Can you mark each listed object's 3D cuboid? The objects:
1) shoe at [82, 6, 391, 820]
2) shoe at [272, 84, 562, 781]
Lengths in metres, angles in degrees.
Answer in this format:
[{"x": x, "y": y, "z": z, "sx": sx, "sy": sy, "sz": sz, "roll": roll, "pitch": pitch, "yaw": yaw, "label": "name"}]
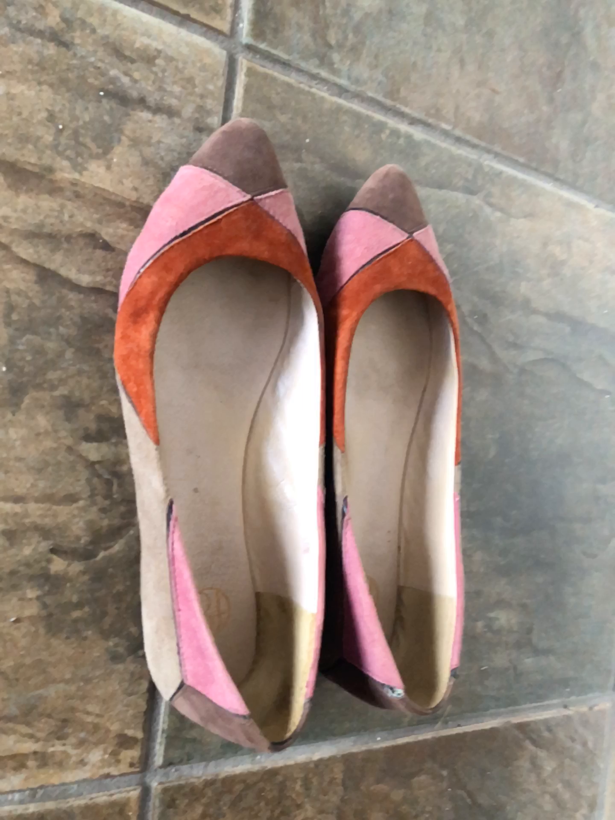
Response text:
[{"x": -0.031, "y": 0.002, "z": 0.276, "sx": 0.090, "sy": 0.070, "sz": 0.270, "roll": 3, "pitch": 91, "yaw": -31, "label": "shoe"}, {"x": 0.049, "y": 0.010, "z": 0.313, "sx": 0.090, "sy": 0.070, "sz": 0.270, "roll": 4, "pitch": 90, "yaw": -31, "label": "shoe"}]
